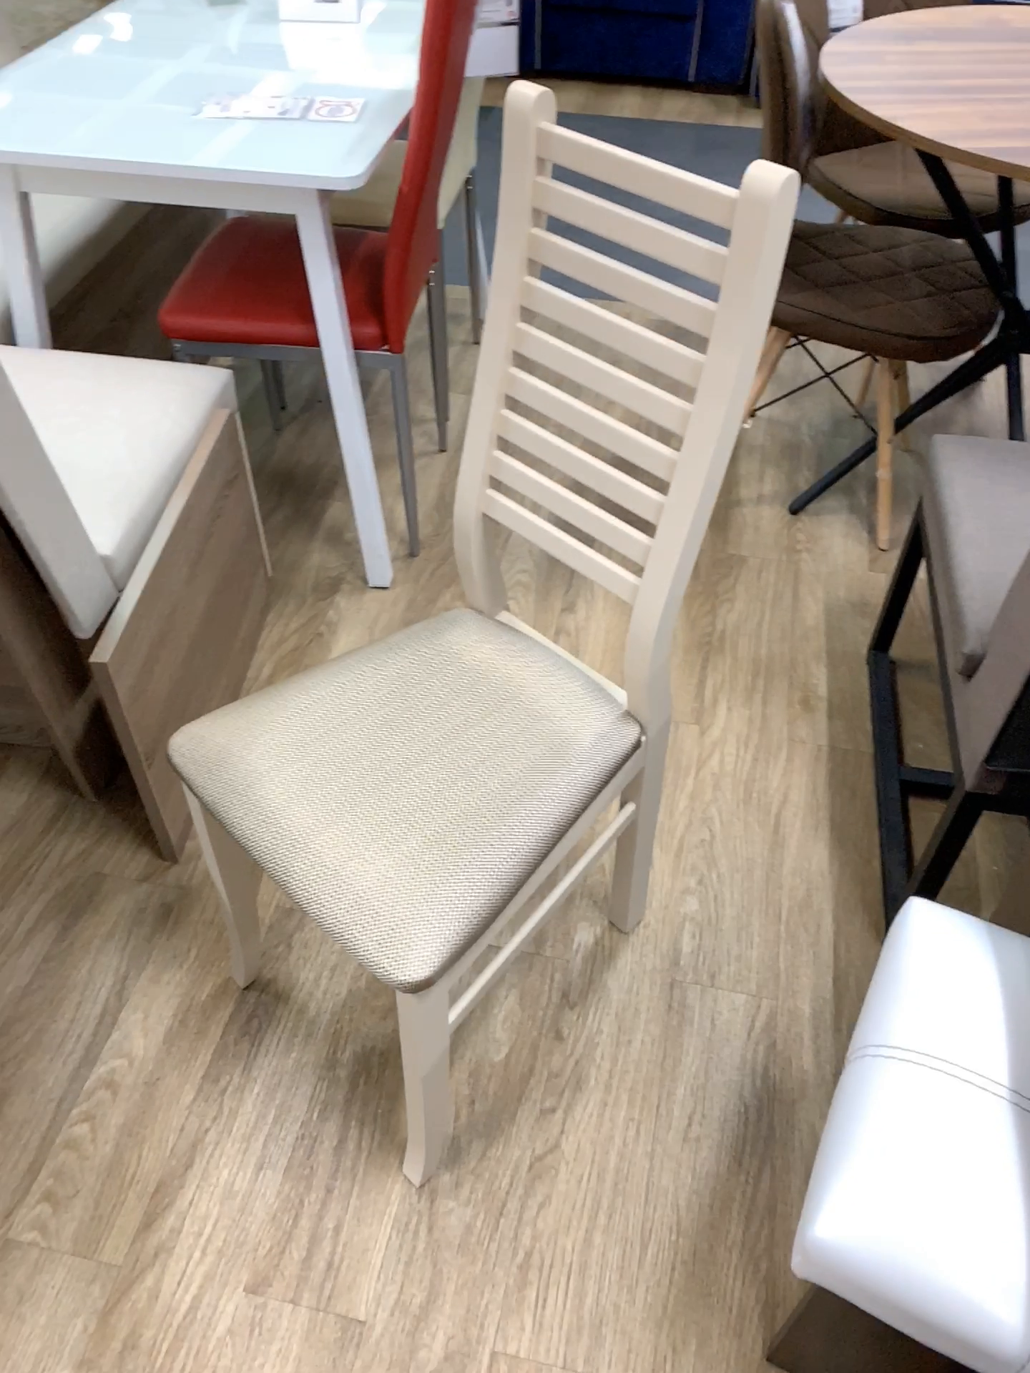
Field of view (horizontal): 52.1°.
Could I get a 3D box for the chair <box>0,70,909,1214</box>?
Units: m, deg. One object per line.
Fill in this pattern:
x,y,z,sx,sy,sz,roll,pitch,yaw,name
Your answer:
-0.063,0.008,1.105,0.552,0.985,0.441,-35,55,-30,chair
